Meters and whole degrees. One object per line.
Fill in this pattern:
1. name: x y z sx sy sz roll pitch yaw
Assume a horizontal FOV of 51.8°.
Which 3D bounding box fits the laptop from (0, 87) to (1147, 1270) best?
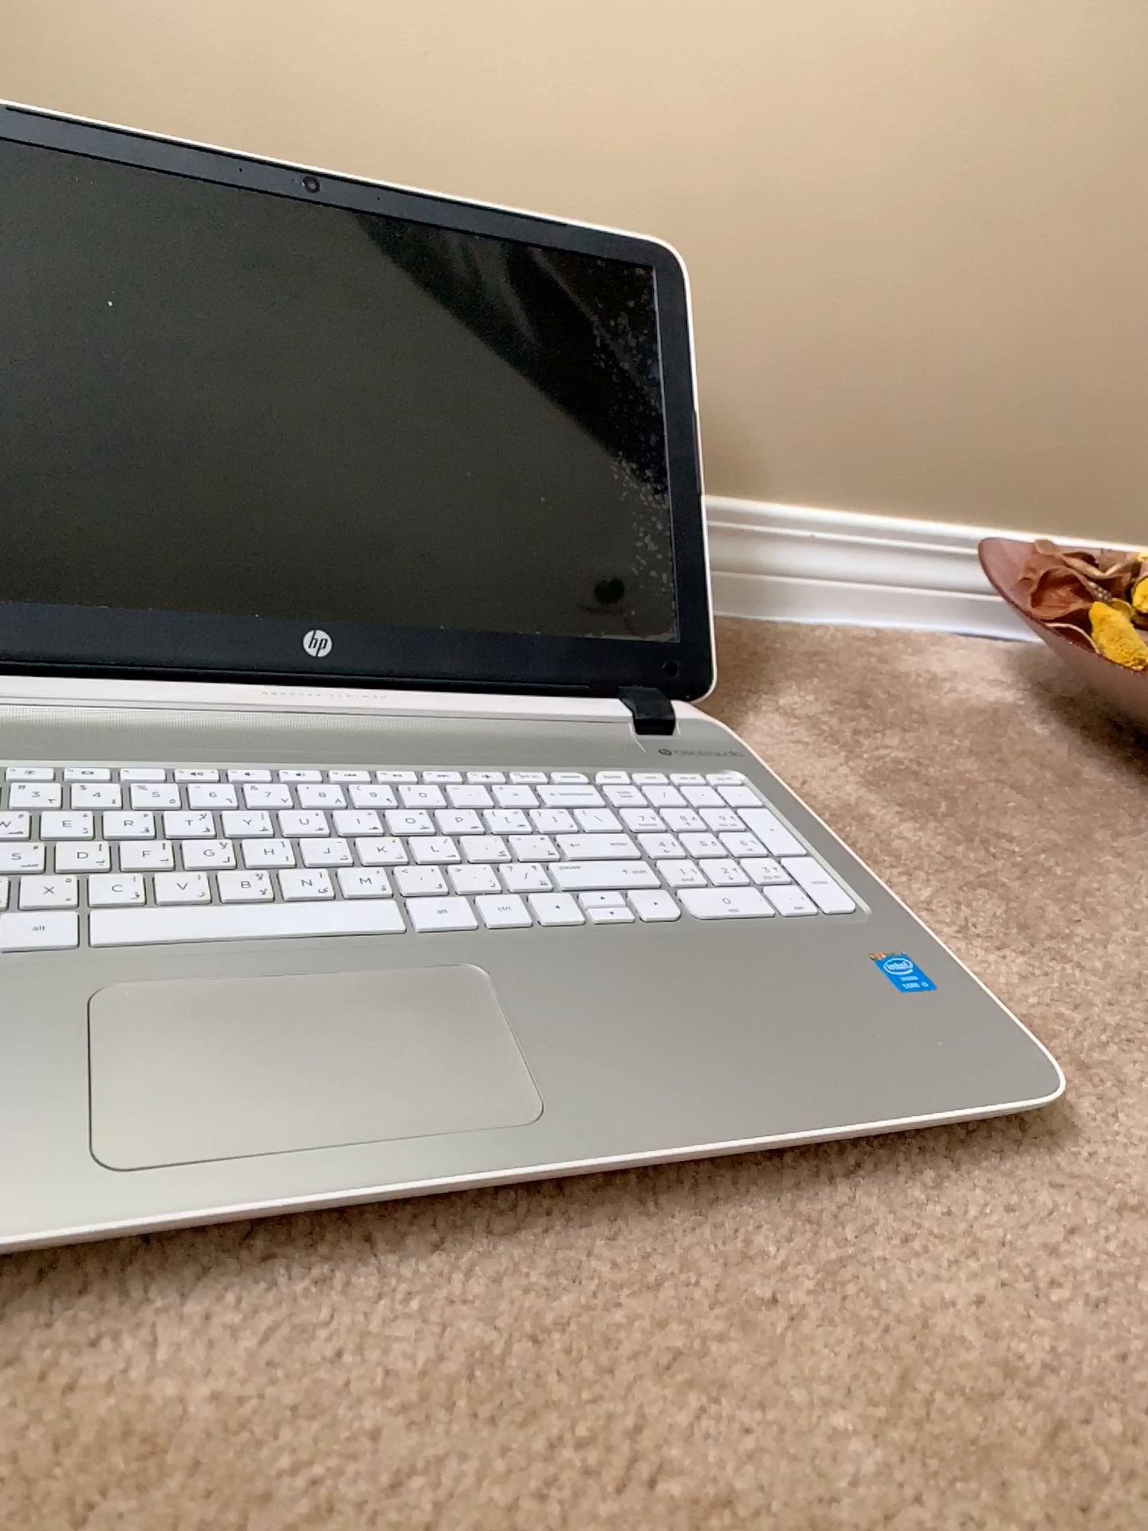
1. laptop: -0.062 -0.073 0.386 0.349 0.187 0.351 0 29 -23
